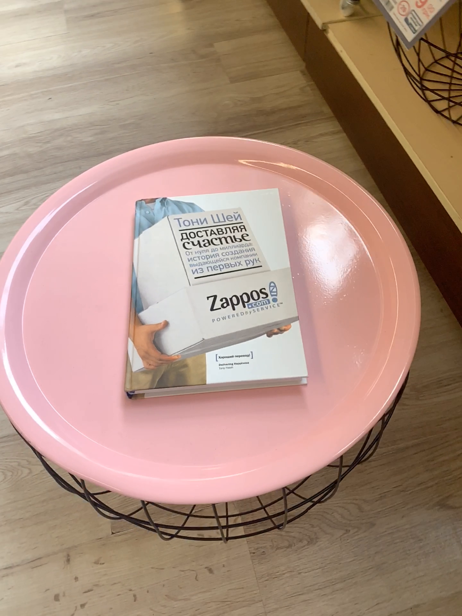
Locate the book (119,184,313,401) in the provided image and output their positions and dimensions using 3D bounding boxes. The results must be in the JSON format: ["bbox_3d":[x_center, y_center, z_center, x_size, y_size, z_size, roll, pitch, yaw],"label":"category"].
[{"bbox_3d":[-0.019,-0.026,0.485,0.170,0.030,0.232,-4,59,1],"label":"book"}]
